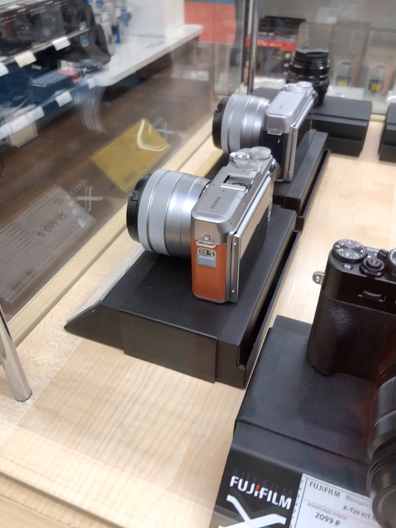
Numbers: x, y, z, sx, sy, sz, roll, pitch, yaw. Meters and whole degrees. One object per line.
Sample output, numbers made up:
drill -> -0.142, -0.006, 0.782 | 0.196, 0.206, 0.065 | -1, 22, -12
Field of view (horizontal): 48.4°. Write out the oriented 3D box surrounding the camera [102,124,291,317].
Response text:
camera -> 0.005, -0.040, 0.324 | 0.093, 0.075, 0.121 | 13, 40, 16

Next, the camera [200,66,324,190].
camera -> 0.067, -0.144, 0.451 | 0.093, 0.075, 0.121 | 13, 40, 16

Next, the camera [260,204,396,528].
camera -> 0.110, 0.051, 0.198 | 0.131, 0.090, 0.113 | 14, 40, 16
